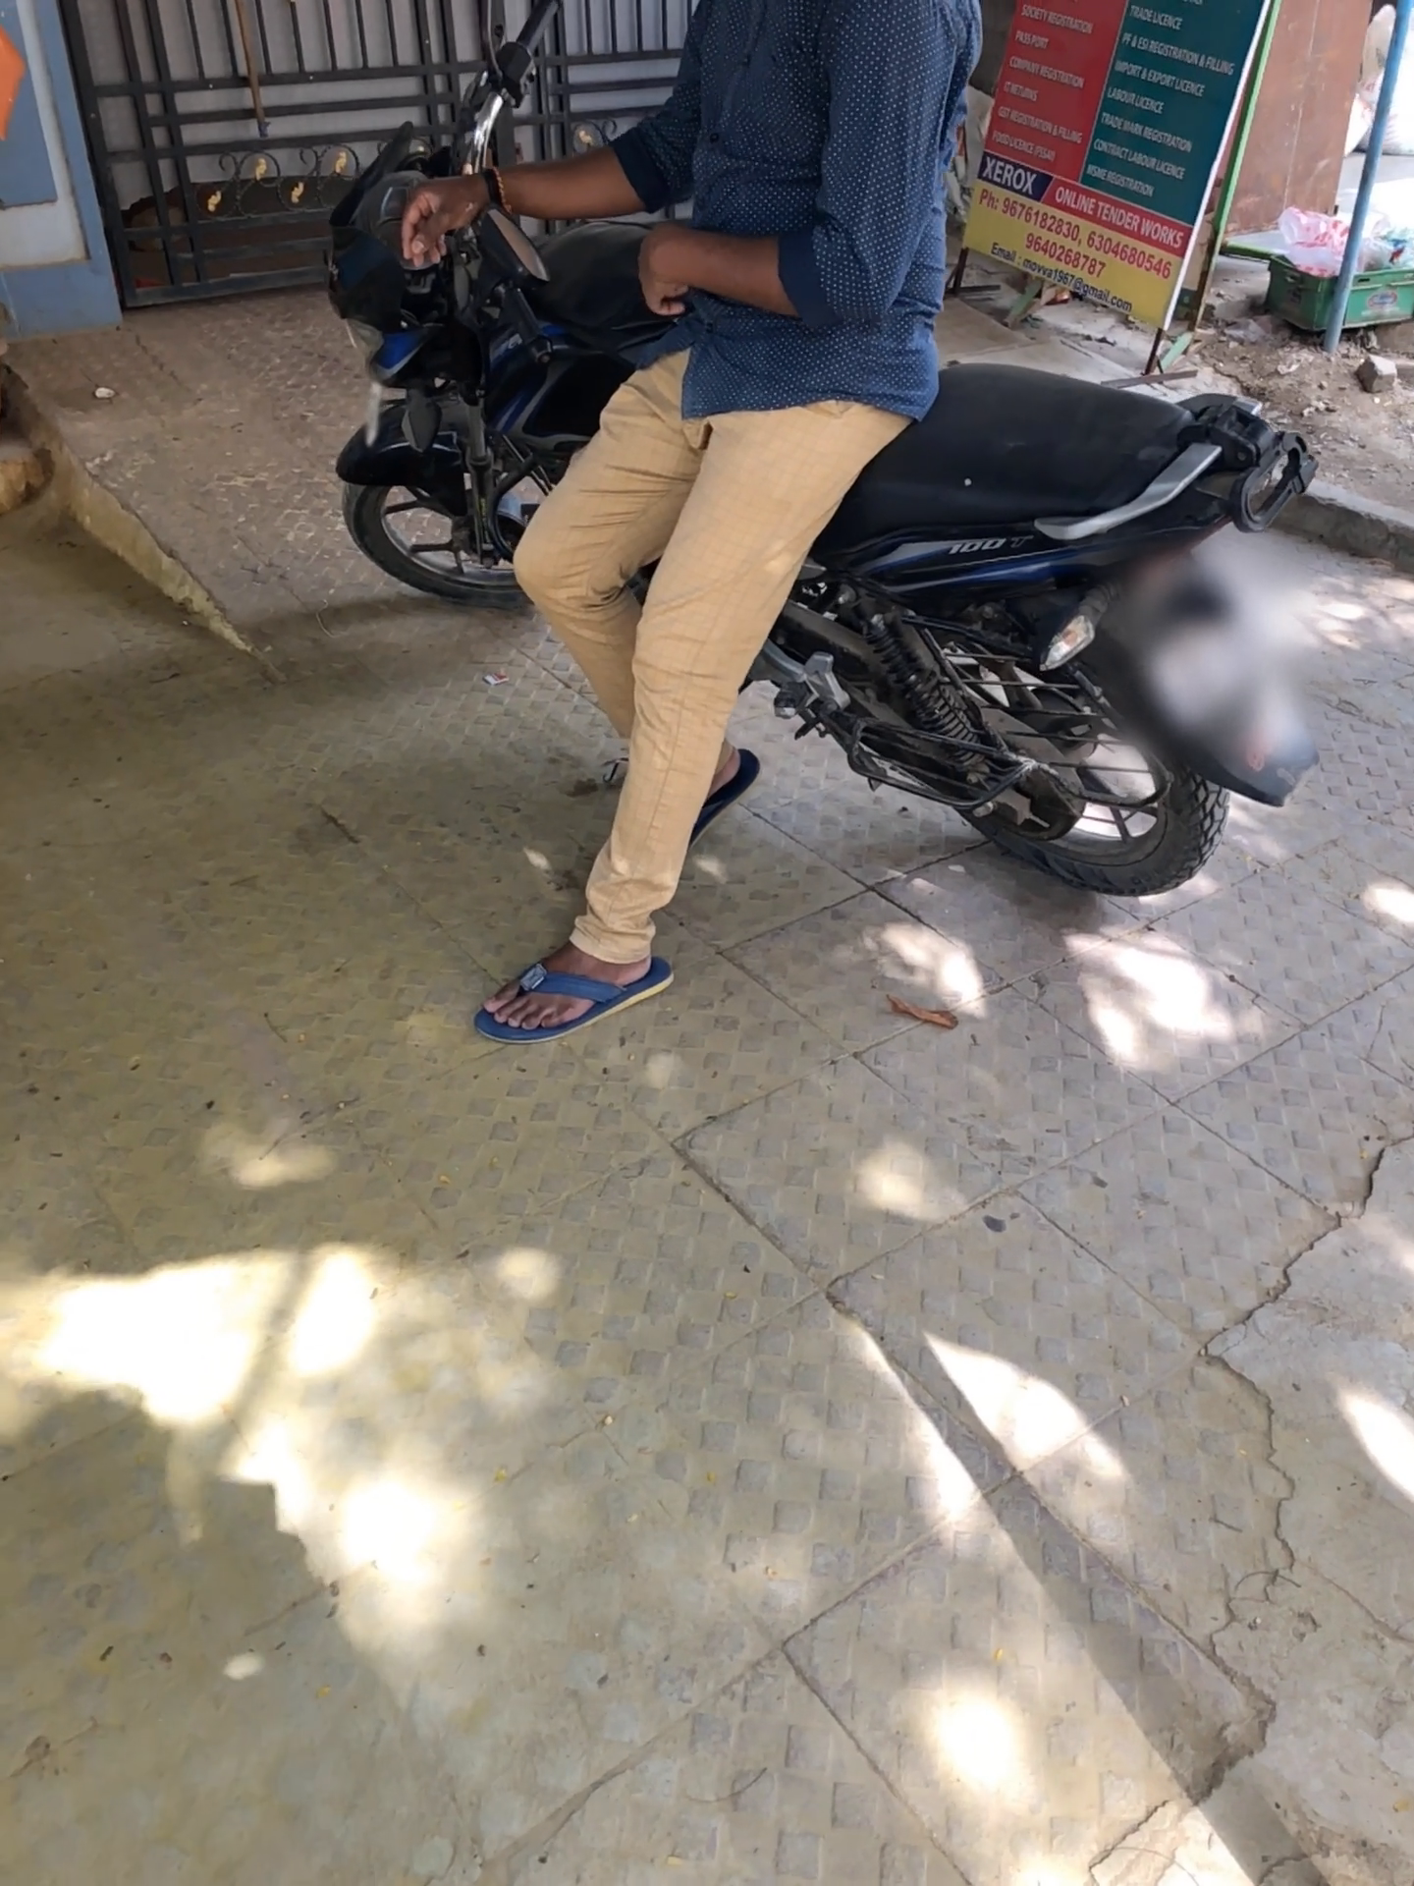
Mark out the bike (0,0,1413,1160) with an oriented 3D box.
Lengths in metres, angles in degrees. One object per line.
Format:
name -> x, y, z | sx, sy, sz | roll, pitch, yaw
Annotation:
bike -> -0.089, -0.713, 2.266 | 1.744, 1.174, 0.788 | 25, 41, 33
